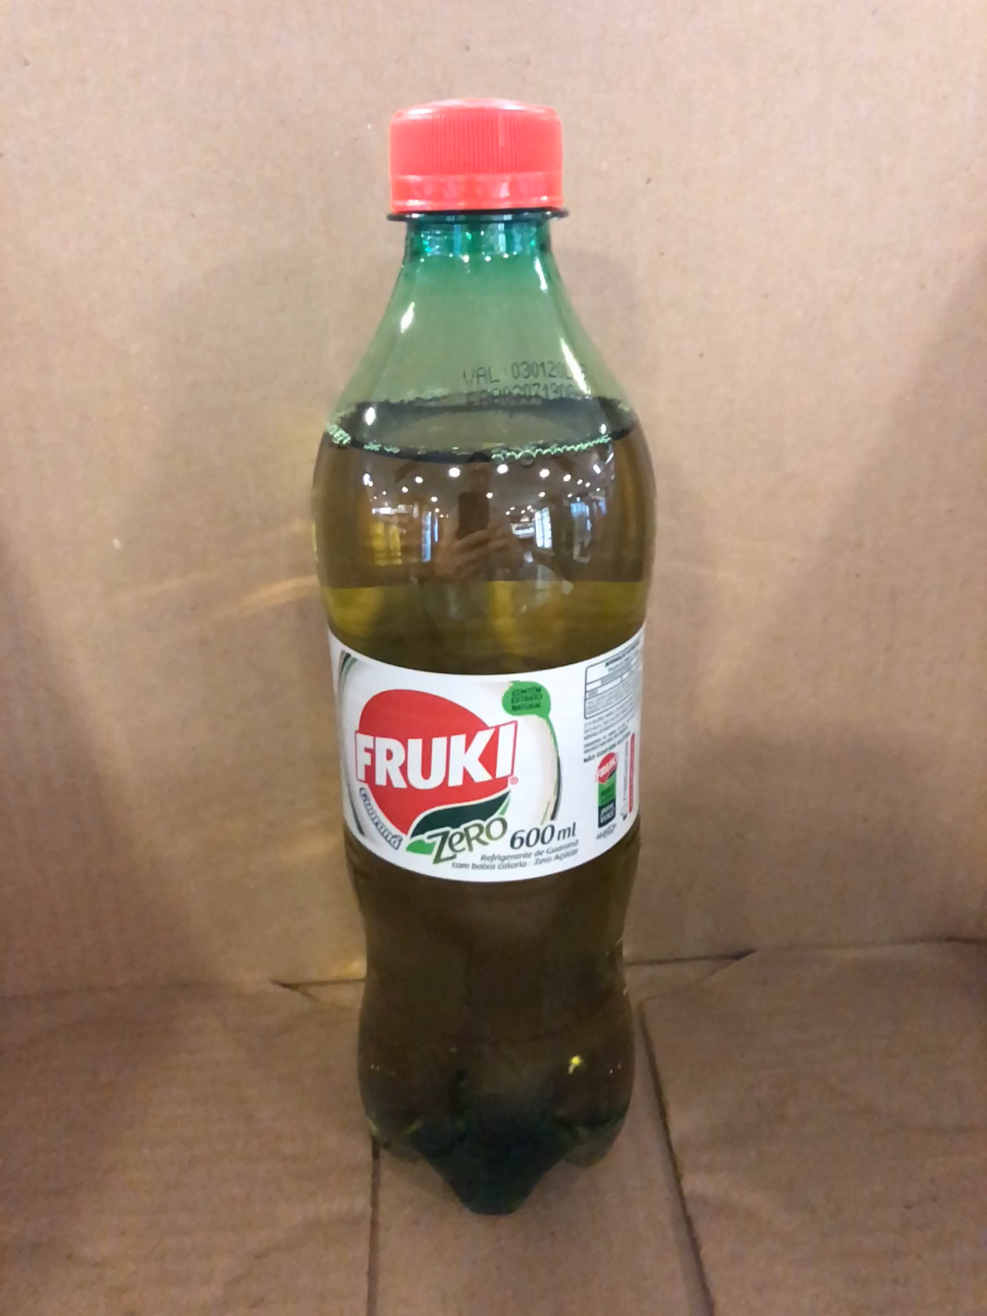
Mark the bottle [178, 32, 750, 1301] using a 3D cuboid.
[{"bbox_3d":[0.005,0.010,0.233,0.080,0.238,0.081,-1,23,0],"label":"bottle"}]
